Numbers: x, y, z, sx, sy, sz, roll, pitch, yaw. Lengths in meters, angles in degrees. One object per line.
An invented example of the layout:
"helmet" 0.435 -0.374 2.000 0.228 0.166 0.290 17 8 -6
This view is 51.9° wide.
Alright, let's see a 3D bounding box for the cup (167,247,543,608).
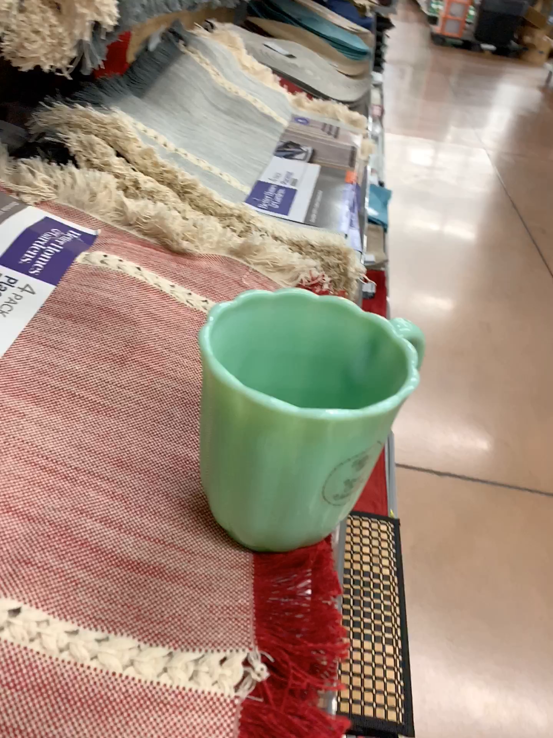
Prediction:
"cup" 0.030 0.015 0.260 0.130 0.090 0.090 -21 46 -34
